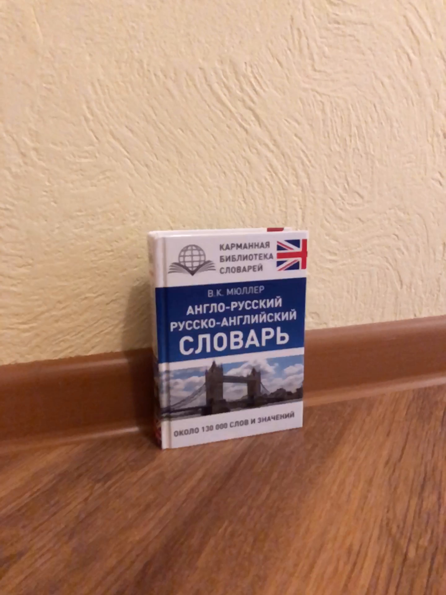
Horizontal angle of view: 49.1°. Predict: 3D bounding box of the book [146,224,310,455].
[{"bbox_3d":[0.003,0.026,0.342,0.102,0.146,0.037,-4,15,-17],"label":"book"}]
